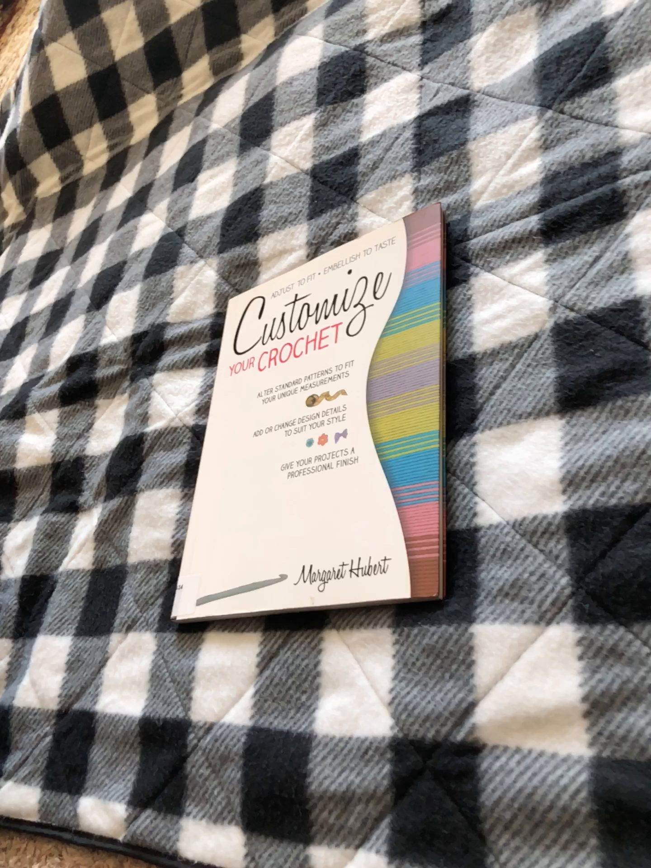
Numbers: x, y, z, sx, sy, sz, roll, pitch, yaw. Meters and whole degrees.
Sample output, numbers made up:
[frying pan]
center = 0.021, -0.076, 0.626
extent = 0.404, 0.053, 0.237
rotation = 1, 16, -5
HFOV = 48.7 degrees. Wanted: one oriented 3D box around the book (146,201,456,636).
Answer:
[book]
center = -0.013, -0.007, 0.426
extent = 0.187, 0.020, 0.238
rotation = -15, 56, 36
